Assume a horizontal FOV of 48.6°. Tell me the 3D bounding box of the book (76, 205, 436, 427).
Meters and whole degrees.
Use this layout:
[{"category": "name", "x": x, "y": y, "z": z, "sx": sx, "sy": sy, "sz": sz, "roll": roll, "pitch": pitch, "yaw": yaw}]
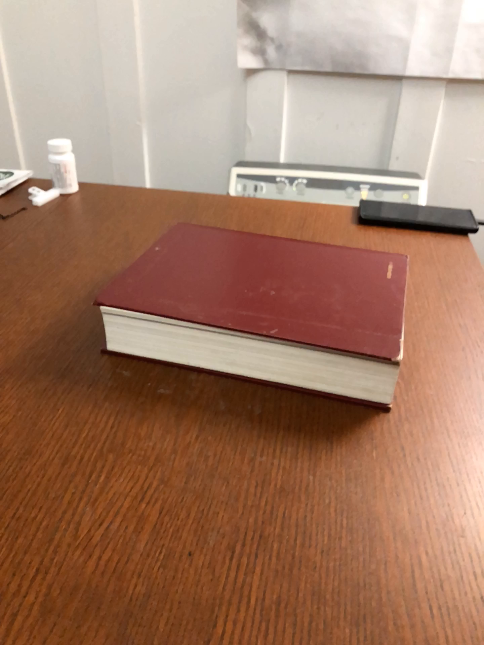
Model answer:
[{"category": "book", "x": 0.030, "y": -0.028, "z": 0.525, "sx": 0.290, "sy": 0.070, "sz": 0.221, "roll": 10, "pitch": 33, "yaw": 13}]
